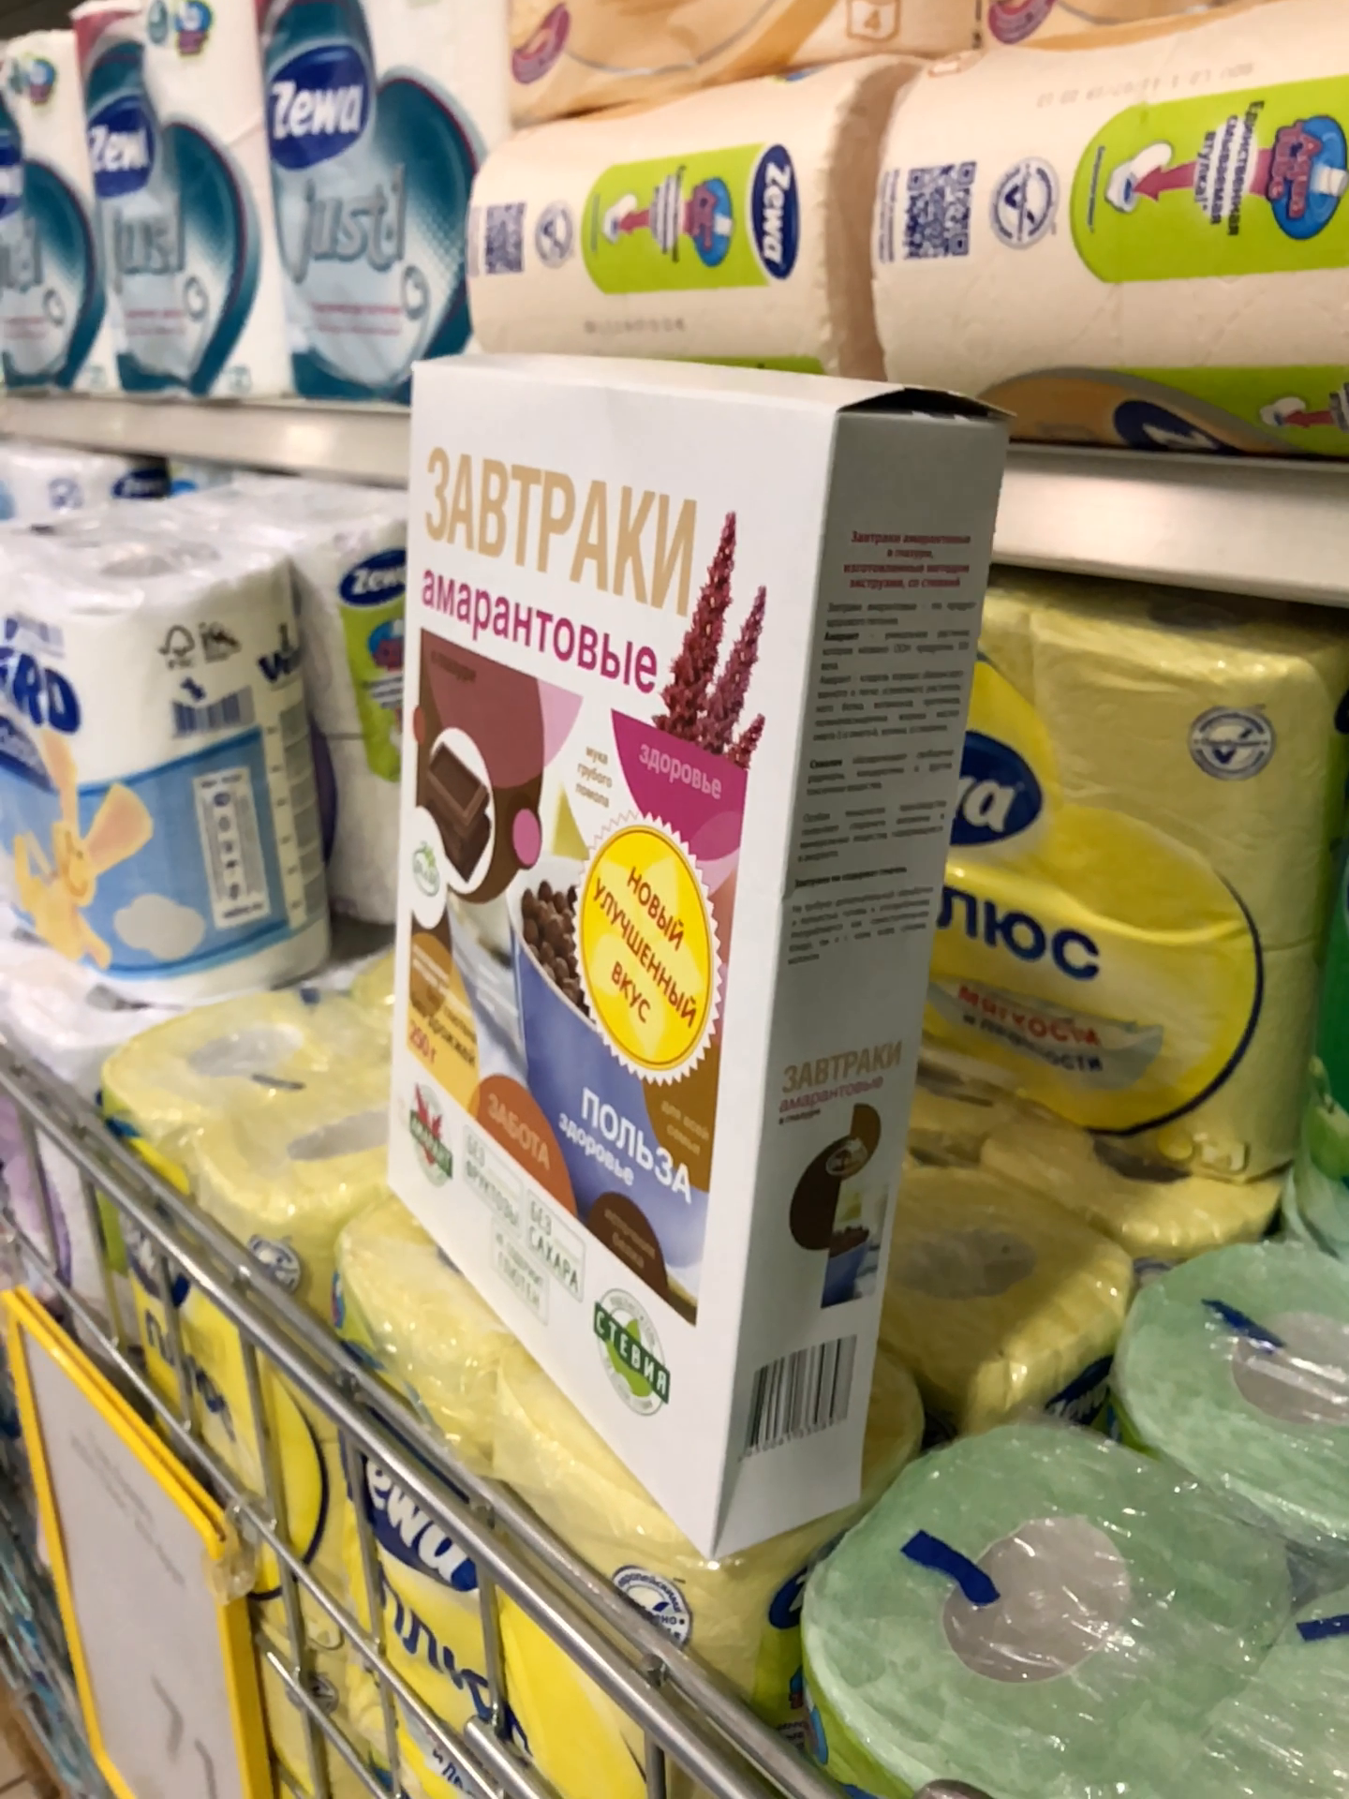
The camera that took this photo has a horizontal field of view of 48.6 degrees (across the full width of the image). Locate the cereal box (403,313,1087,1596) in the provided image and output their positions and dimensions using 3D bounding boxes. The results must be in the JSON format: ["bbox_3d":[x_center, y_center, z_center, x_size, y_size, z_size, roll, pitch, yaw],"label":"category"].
[{"bbox_3d":[-0.005,-0.003,0.383,0.050,0.269,0.191,-7,21,-33],"label":"cereal box"}]
